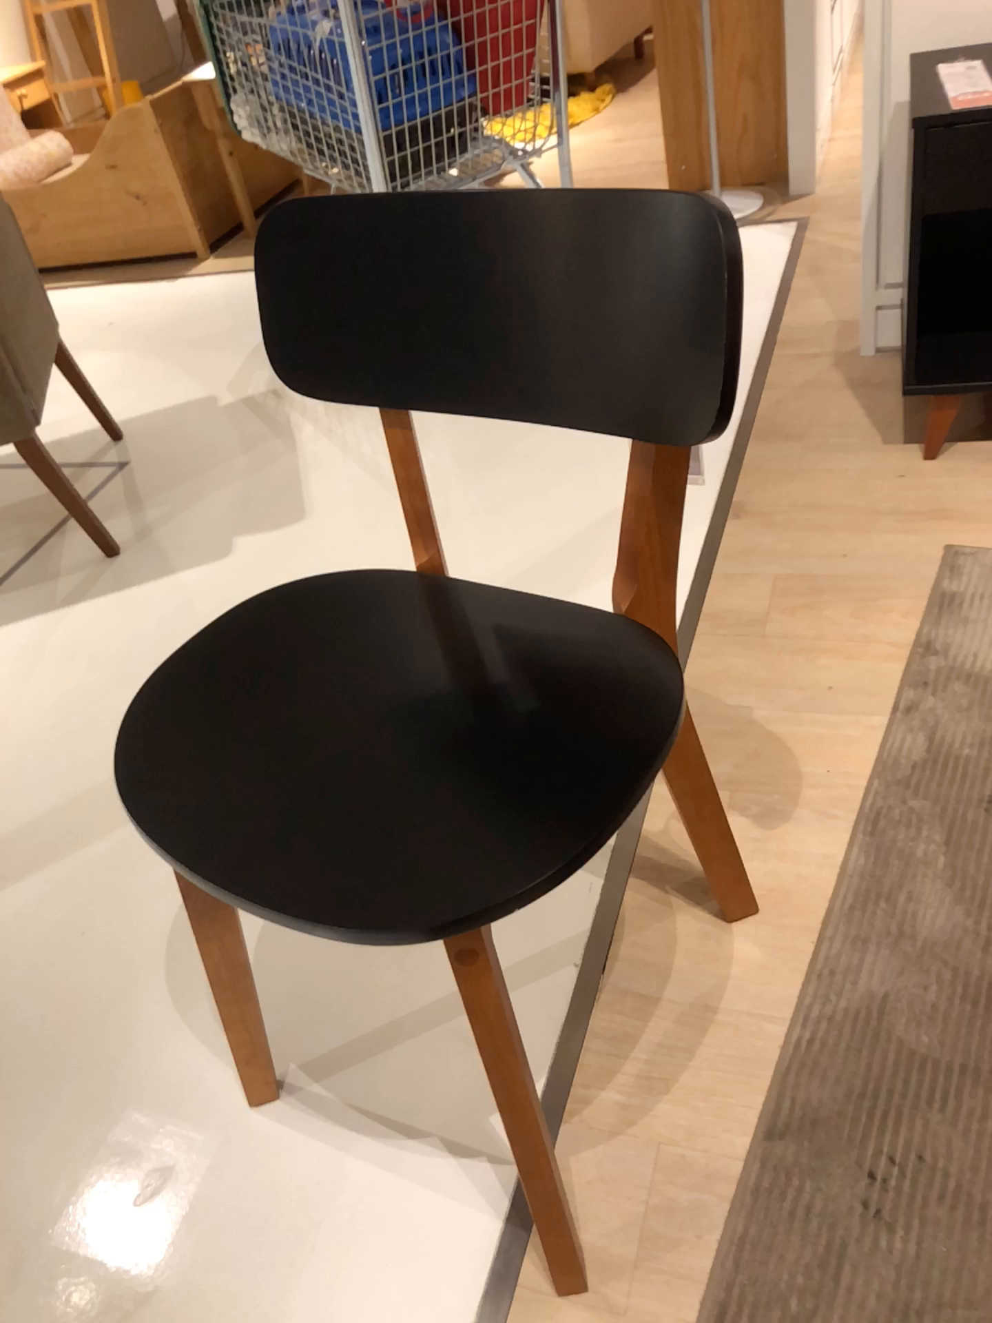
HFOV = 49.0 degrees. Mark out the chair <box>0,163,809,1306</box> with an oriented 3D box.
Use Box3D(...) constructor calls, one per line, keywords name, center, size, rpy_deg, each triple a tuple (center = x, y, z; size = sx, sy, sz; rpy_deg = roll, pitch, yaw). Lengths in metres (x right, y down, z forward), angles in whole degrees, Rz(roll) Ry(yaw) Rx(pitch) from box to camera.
Box3D(name="chair", center=(-0.055, 0.043, 0.908), size=(0.461, 0.704, 0.482), rpy_deg=(13, 45, 31))
